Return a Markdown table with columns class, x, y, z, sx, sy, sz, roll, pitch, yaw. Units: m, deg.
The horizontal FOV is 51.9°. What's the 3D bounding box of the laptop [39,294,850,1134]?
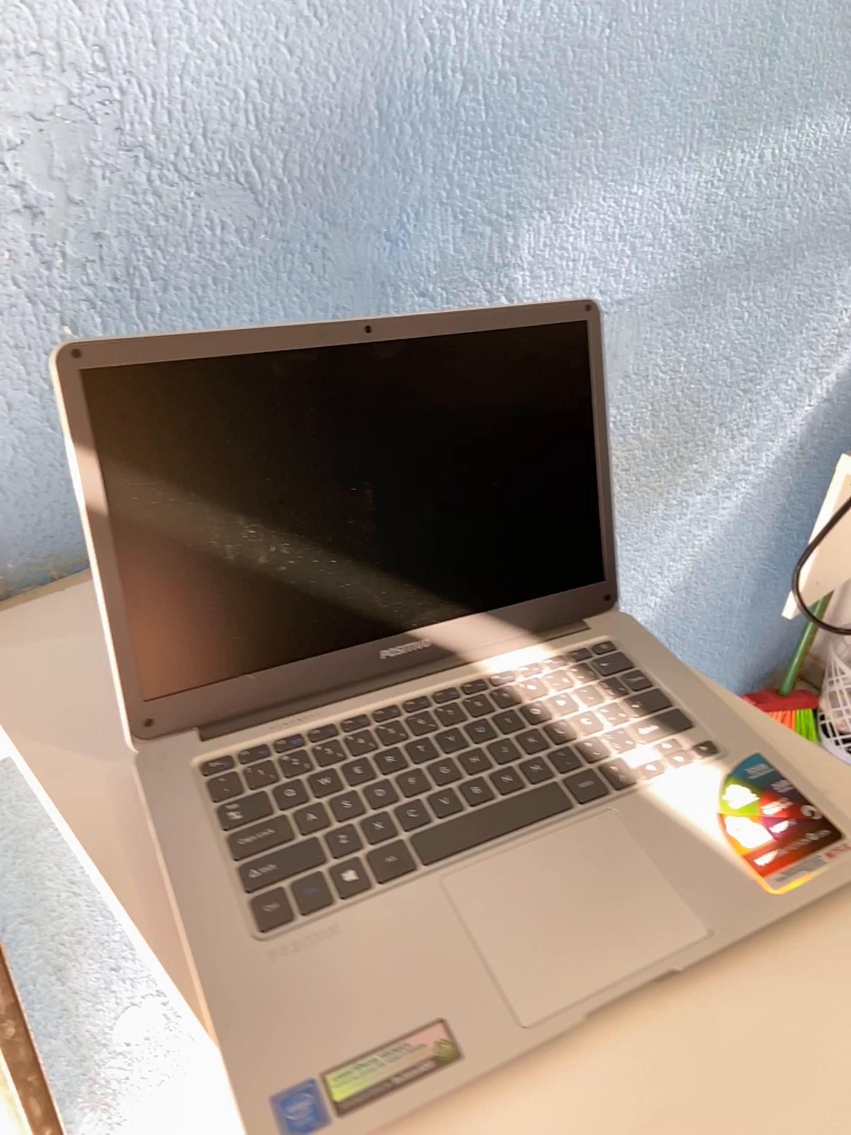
| class | x | y | z | sx | sy | sz | roll | pitch | yaw |
| --- | --- | --- | --- | --- | --- | --- | --- | --- | --- |
| laptop | 0.024 | 0.018 | 0.439 | 0.333 | 0.189 | 0.312 | -12 | 38 | -25 |
